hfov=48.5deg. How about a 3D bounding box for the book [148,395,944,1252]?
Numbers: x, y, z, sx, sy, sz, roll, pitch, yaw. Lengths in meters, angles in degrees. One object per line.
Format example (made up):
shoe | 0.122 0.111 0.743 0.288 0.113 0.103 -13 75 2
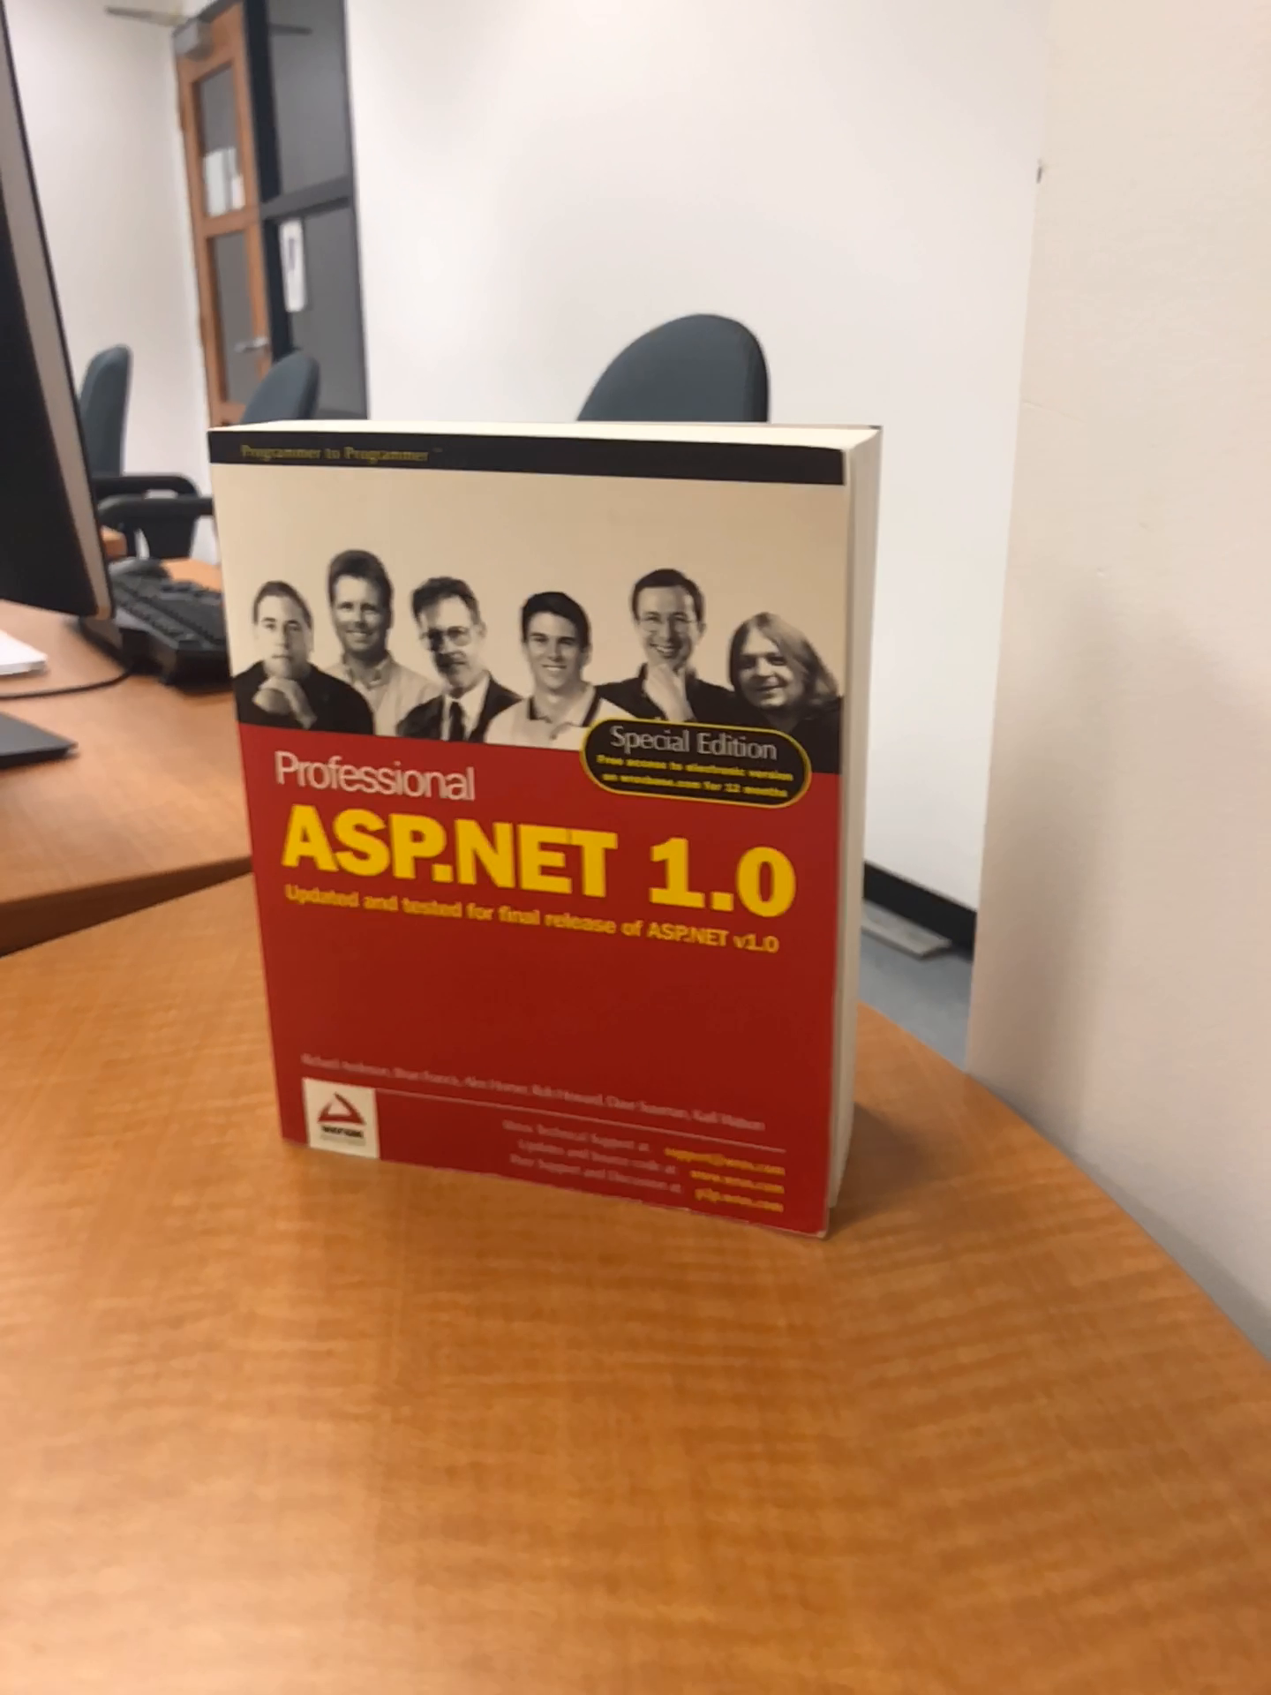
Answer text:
book | -0.026 -0.012 0.417 0.210 0.229 0.050 6 20 17
